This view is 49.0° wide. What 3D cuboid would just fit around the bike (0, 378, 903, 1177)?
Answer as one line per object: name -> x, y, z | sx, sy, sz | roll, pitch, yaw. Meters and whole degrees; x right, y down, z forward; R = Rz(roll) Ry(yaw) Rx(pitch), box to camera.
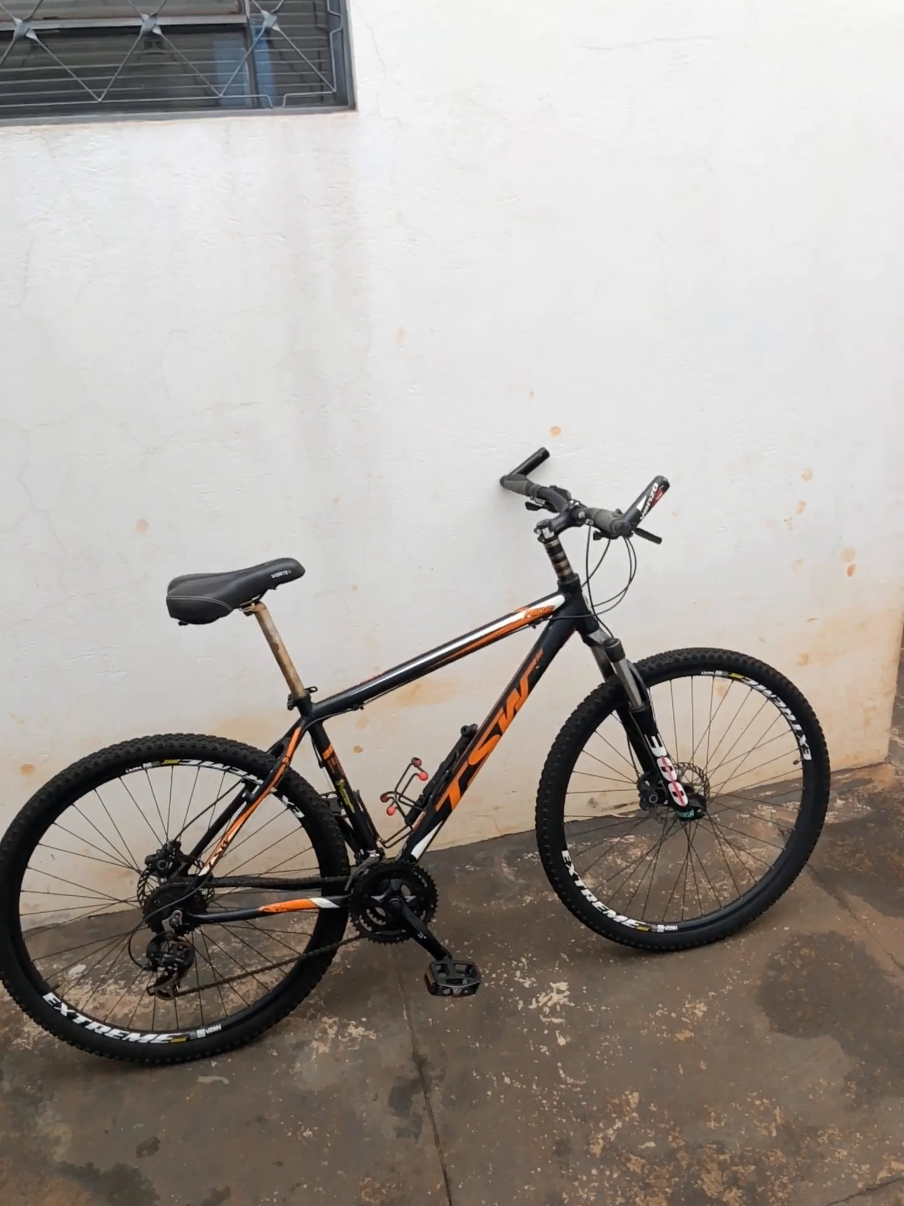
bike -> -0.036, 0.238, 2.043 | 1.764, 1.086, 0.724 | -9, 24, -12
